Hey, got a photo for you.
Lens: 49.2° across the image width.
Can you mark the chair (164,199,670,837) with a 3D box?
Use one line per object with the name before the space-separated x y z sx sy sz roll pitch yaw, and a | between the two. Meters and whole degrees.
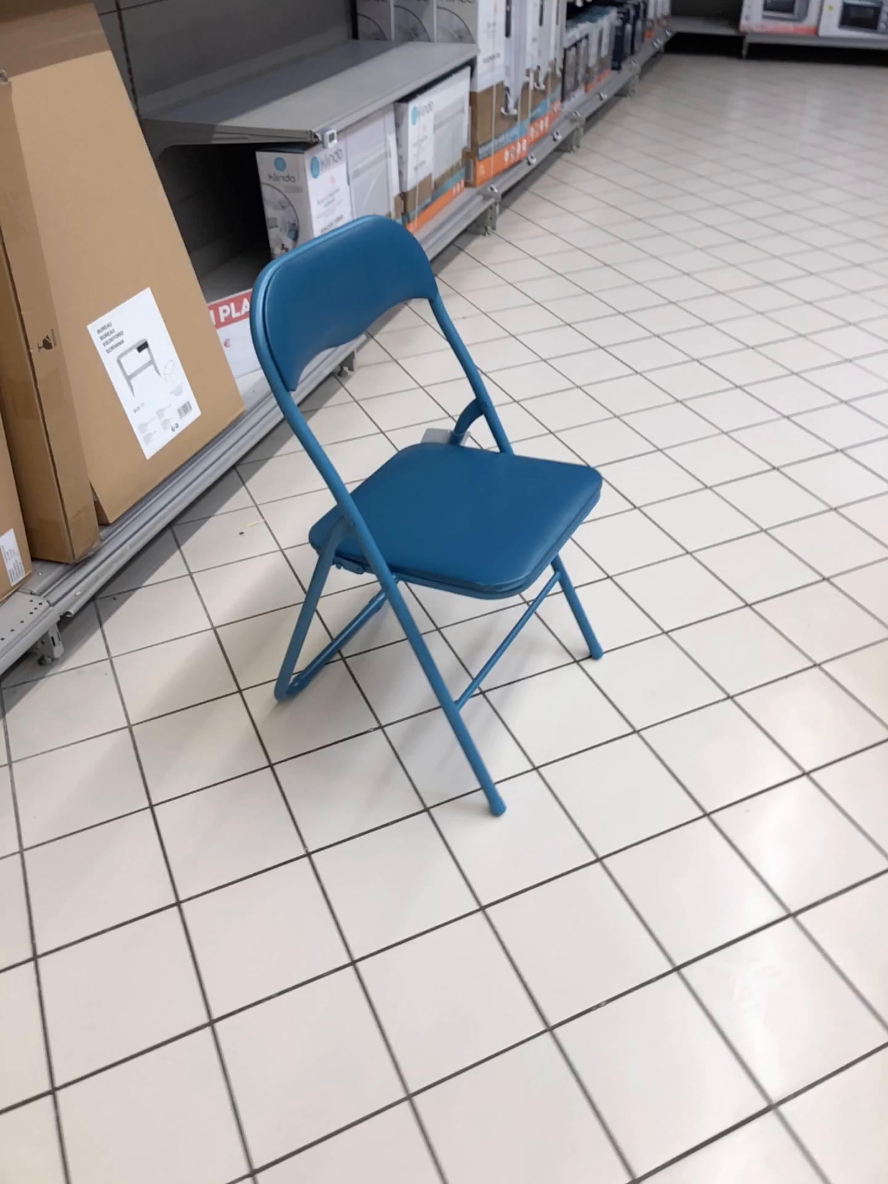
chair | -0.013 -0.134 1.547 0.500 0.765 0.503 19 41 24
